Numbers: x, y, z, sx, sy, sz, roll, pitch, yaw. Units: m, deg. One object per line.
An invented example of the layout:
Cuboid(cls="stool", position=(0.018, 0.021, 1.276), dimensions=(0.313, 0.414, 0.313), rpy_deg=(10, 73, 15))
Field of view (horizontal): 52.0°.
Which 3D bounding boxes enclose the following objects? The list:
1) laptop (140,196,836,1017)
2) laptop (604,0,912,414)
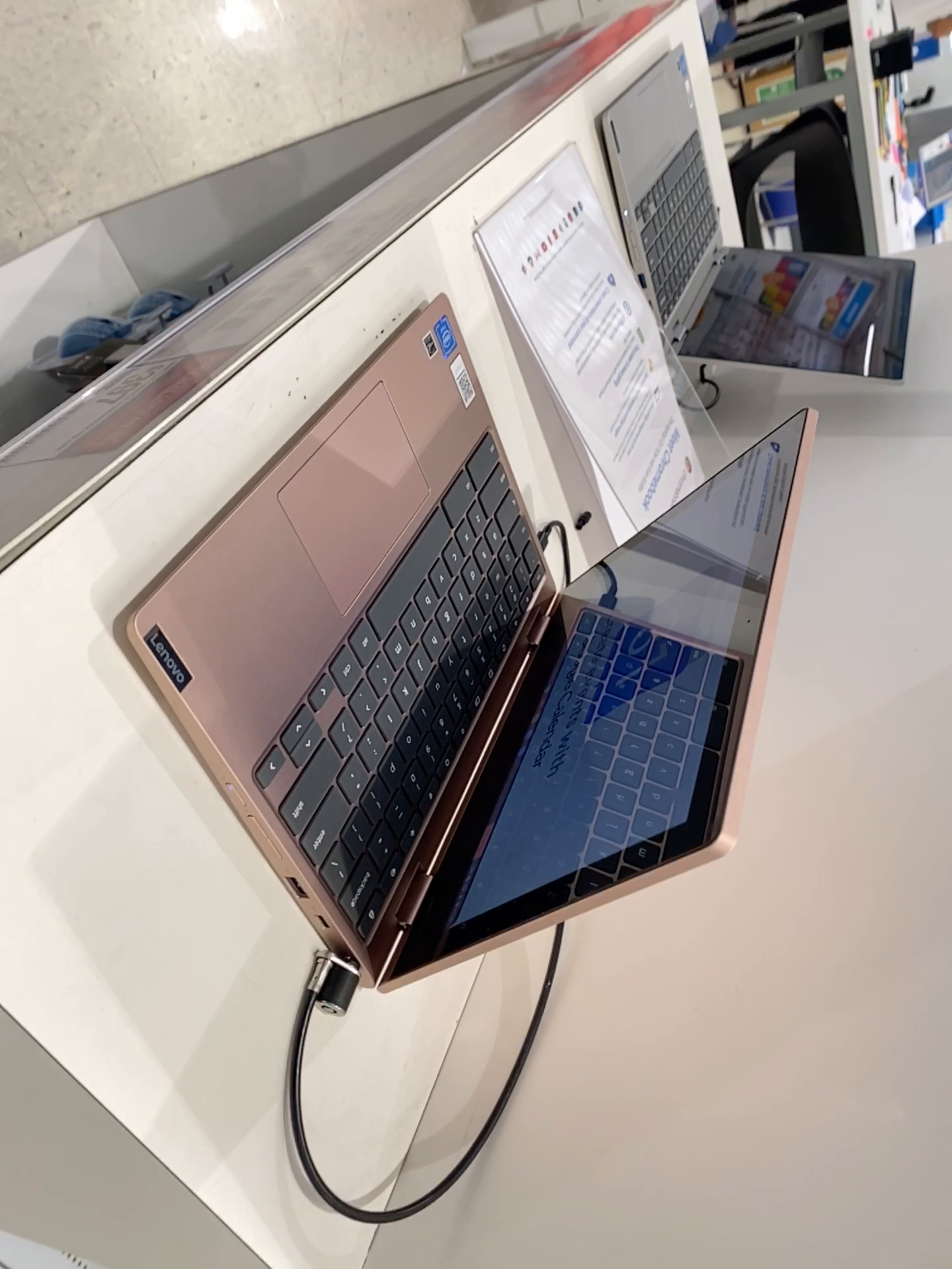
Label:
Cuboid(cls="laptop", position=(0.044, -0.025, 0.432), dimensions=(0.196, 0.168, 0.281), rpy_deg=(66, 35, -32))
Cuboid(cls="laptop", position=(0.284, -0.407, 0.906), dimensions=(0.311, 0.192, 0.265), rpy_deg=(-61, 139, -45))
